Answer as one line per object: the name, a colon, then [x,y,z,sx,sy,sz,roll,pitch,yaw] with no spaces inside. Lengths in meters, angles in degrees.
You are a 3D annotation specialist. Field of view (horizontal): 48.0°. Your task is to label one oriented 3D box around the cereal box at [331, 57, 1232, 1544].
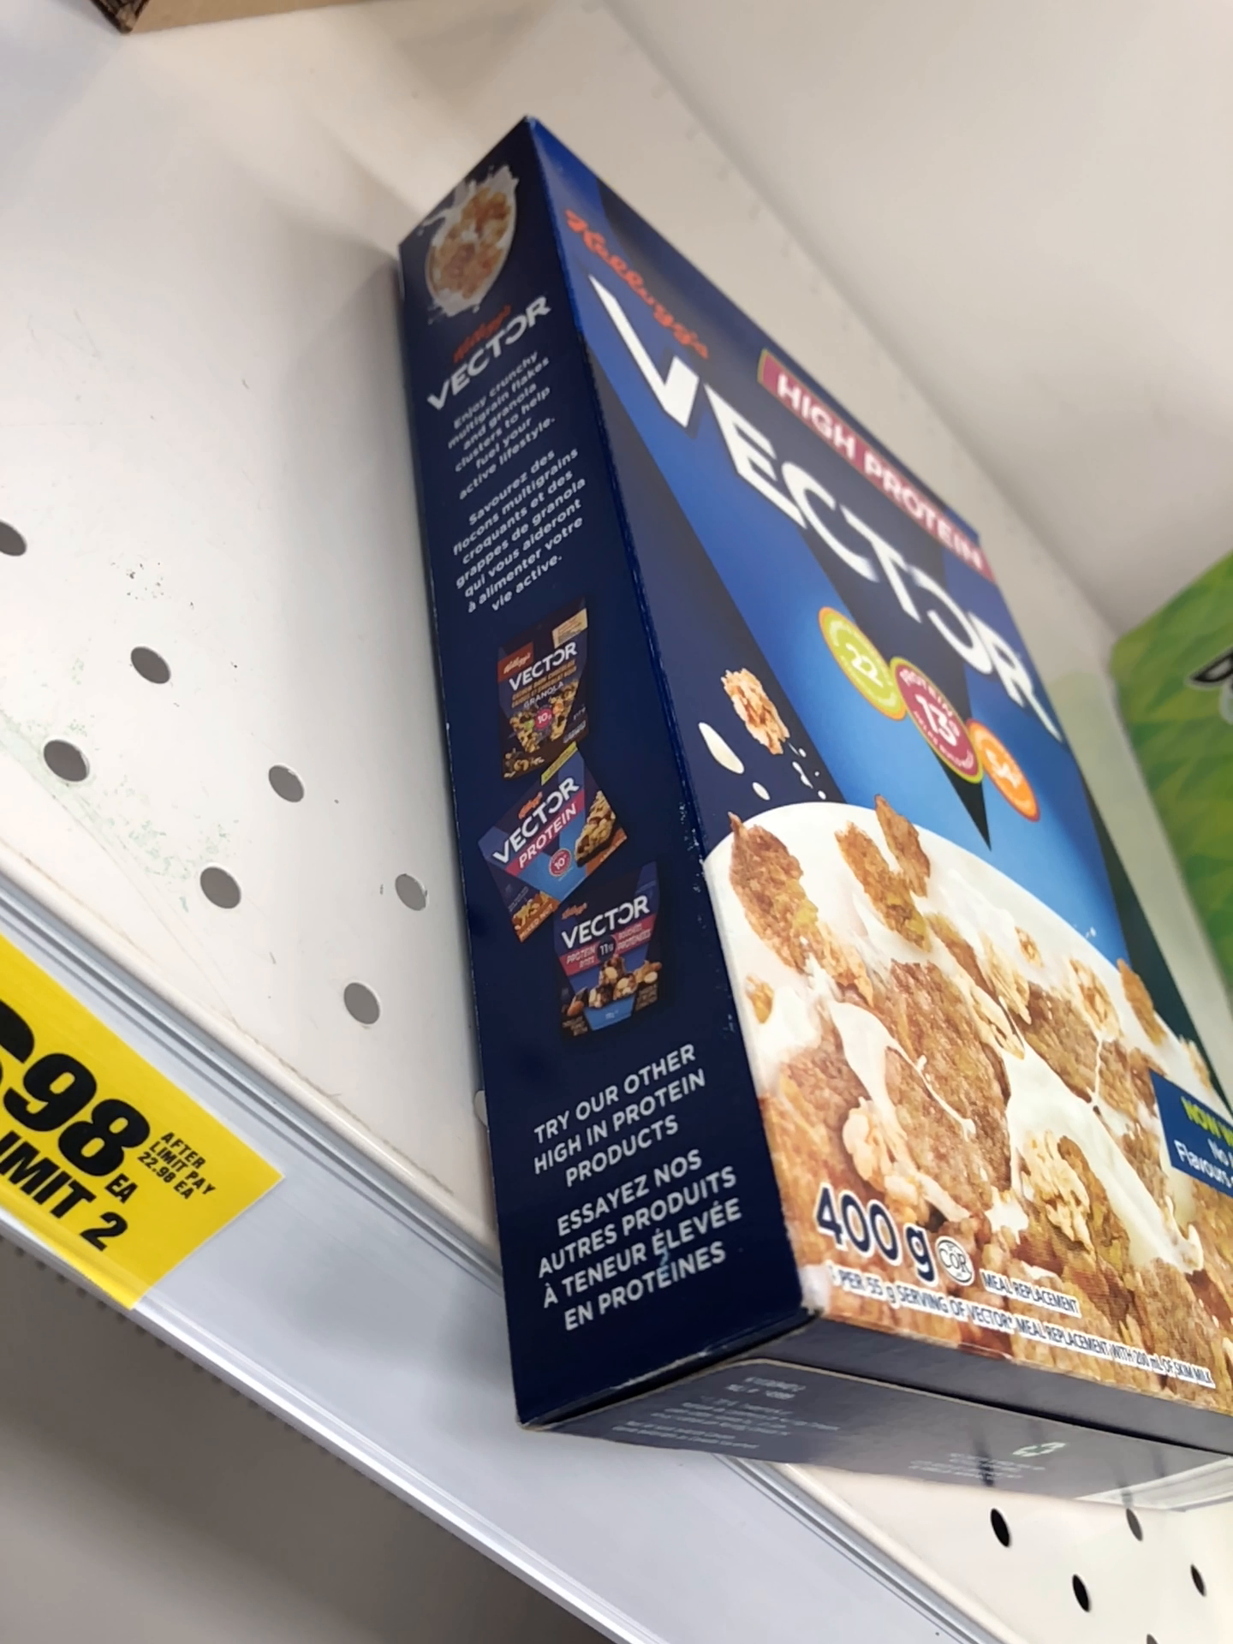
cereal box: [0.044,-0.010,0.303,0.211,0.050,0.290,29,36,-40]
